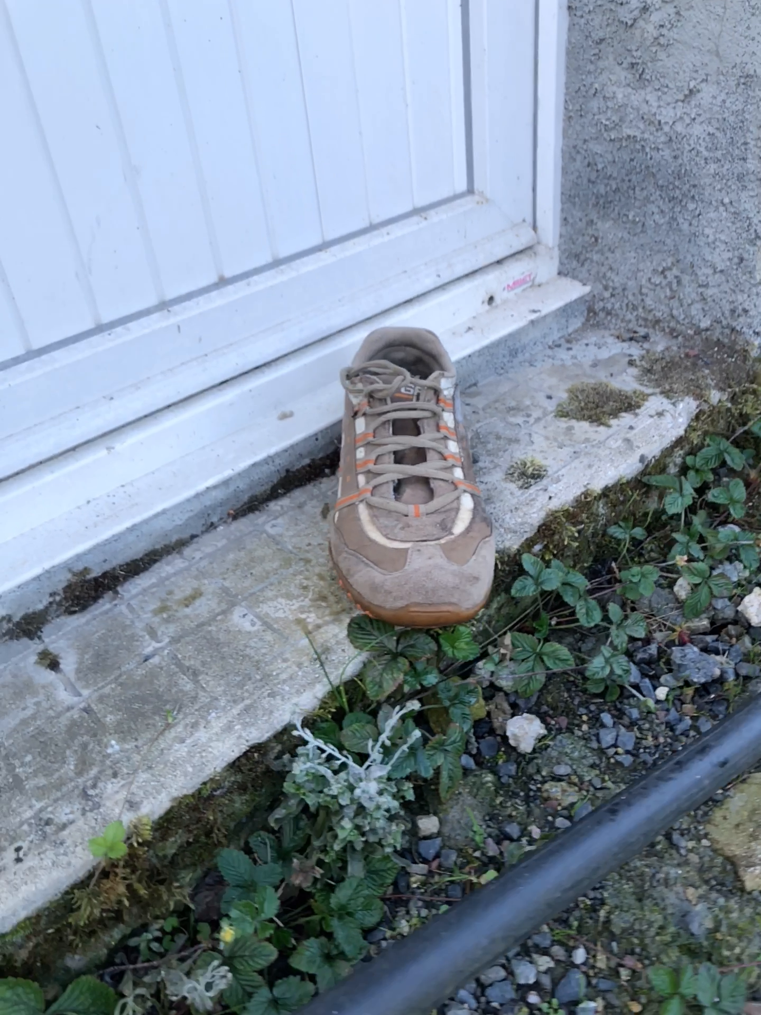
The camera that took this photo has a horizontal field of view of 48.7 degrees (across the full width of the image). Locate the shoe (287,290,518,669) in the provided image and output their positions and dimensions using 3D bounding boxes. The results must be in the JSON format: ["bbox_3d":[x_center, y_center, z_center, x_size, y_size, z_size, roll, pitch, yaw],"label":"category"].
[{"bbox_3d":[0.013,-0.036,0.538,0.110,0.099,0.272,-5,36,3],"label":"shoe"}]
